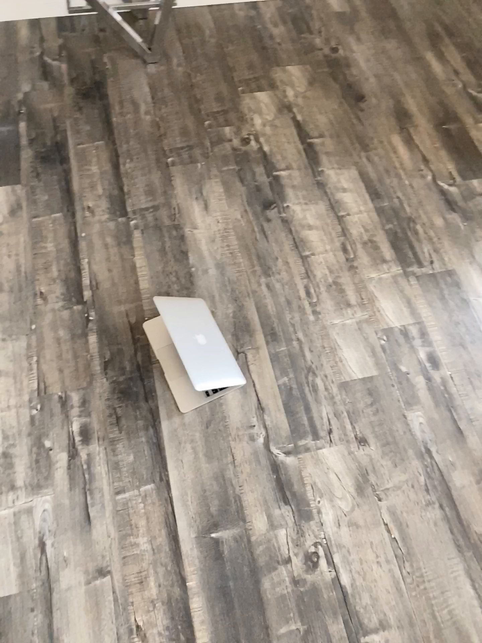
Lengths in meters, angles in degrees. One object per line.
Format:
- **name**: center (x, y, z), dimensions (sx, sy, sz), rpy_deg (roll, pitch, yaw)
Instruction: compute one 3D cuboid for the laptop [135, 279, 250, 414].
- **laptop**: center (-0.120, 0.059, 1.210), dimensions (0.173, 0.113, 0.270), rpy_deg (-22, 66, -16)
